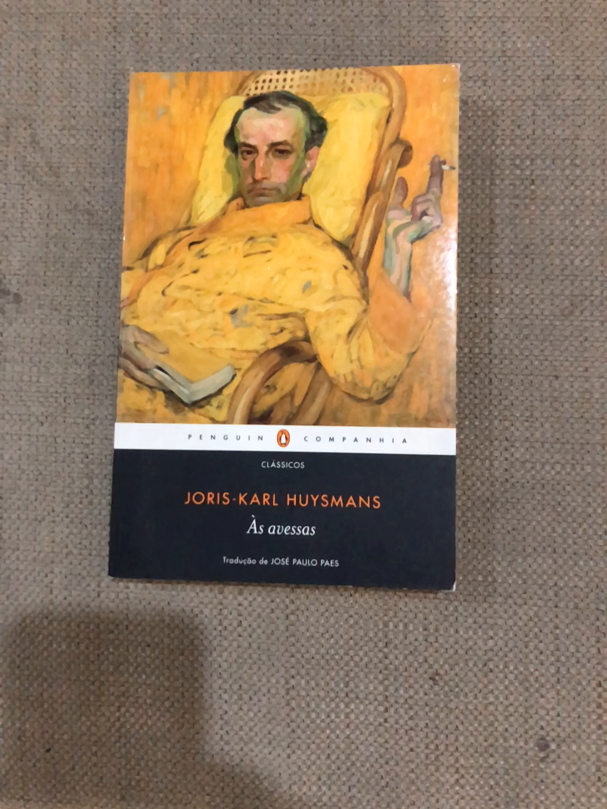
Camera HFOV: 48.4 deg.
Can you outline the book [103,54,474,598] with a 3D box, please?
[{"bbox_3d":[-0.005,-0.031,0.258,0.130,0.023,0.195,1,87,5],"label":"book"}]
